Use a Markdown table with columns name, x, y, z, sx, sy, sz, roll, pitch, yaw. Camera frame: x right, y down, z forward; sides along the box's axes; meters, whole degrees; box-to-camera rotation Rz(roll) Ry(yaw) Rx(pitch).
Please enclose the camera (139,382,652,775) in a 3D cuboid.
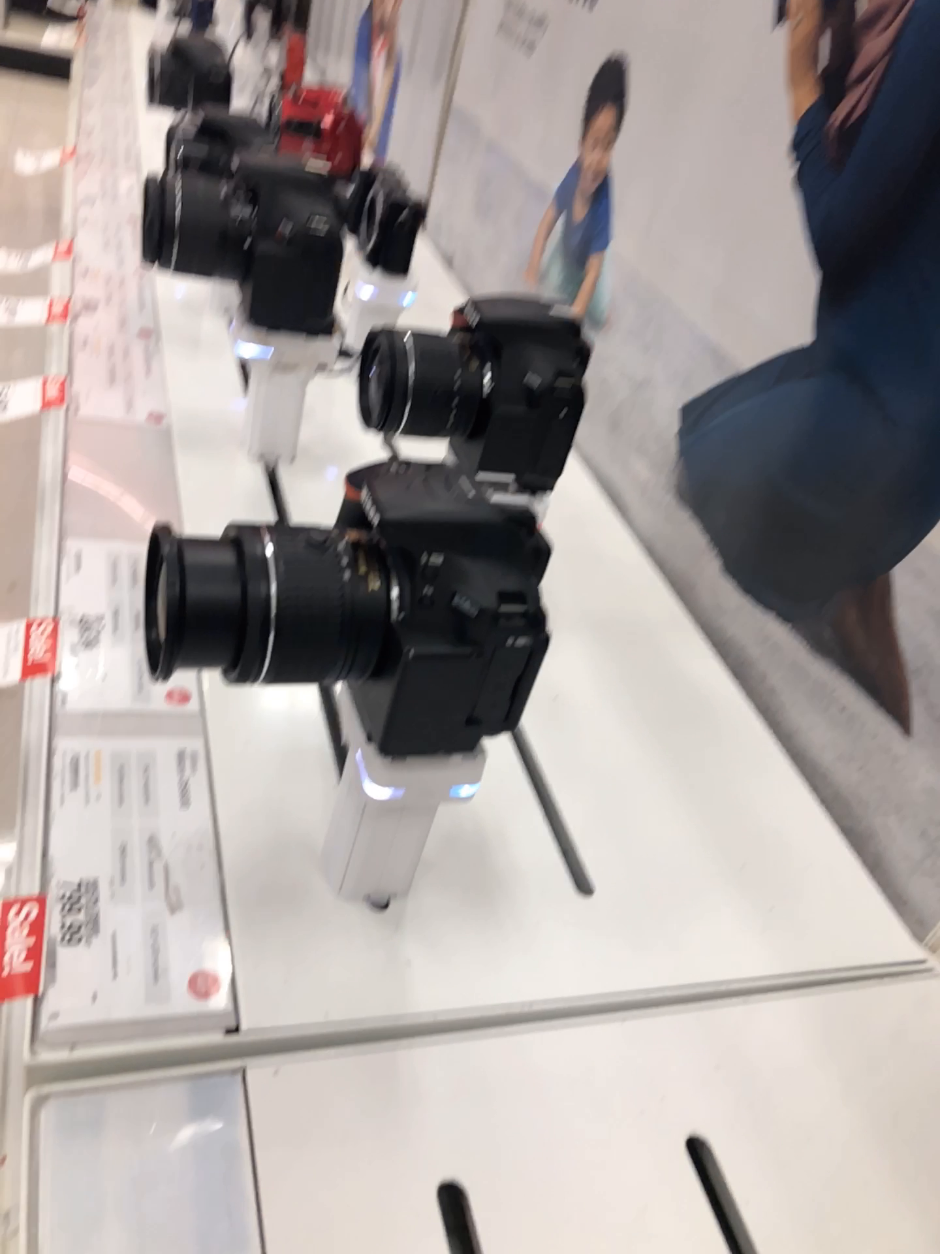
| name | x | y | z | sx | sy | sz | roll | pitch | yaw |
| --- | --- | --- | --- | --- | --- | --- | --- | --- | --- |
| camera | -0.041 | -0.022 | 0.423 | 0.170 | 0.089 | 0.131 | 1 | 38 | -22 |
